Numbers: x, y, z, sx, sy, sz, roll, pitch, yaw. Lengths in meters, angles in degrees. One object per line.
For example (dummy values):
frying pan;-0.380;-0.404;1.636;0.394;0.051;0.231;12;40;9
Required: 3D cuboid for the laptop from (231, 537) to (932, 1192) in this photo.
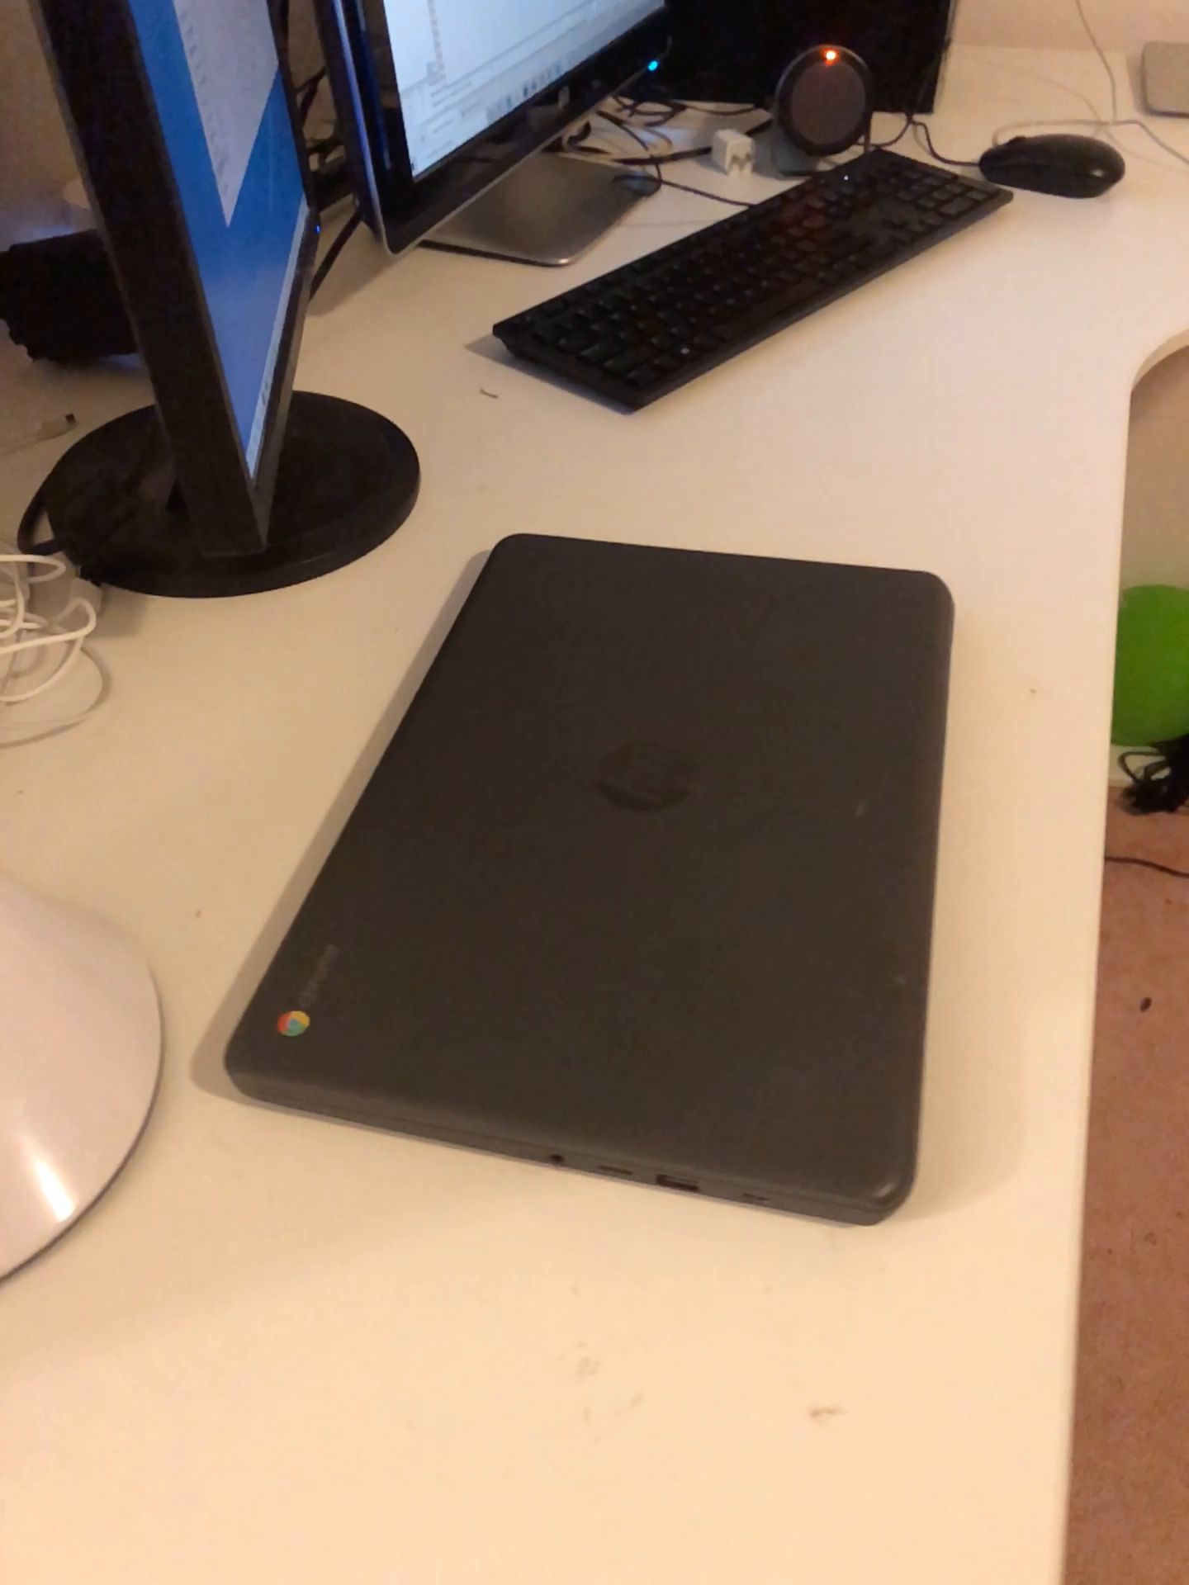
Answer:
laptop;0.021;-0.005;0.519;0.208;0.001;0.327;8;44;10
